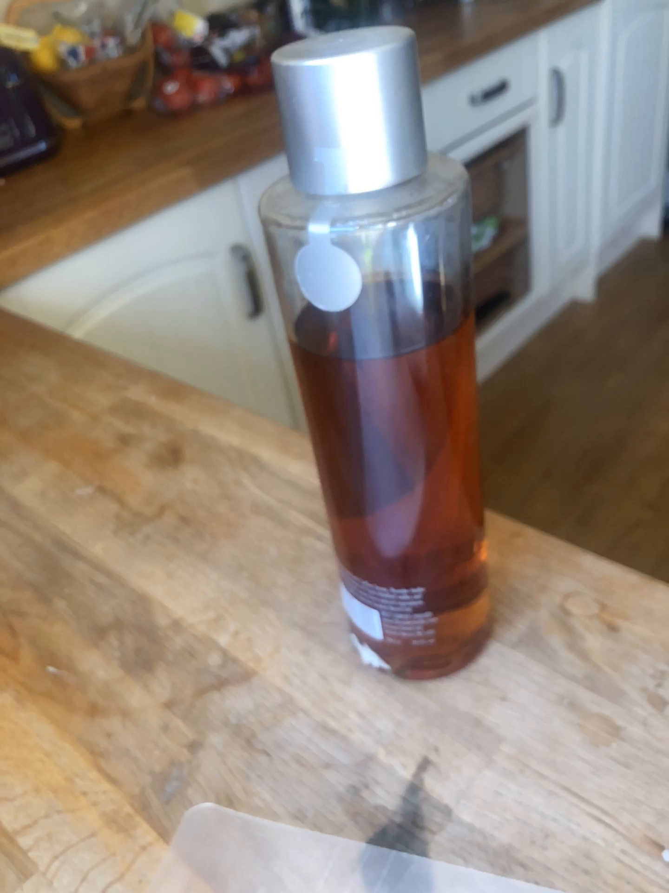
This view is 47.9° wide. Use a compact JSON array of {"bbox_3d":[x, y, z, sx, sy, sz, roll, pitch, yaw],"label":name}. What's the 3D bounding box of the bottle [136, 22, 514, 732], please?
[{"bbox_3d":[0.015,-0.011,0.316,0.080,0.278,0.080,-8,36,6],"label":"bottle"}]
